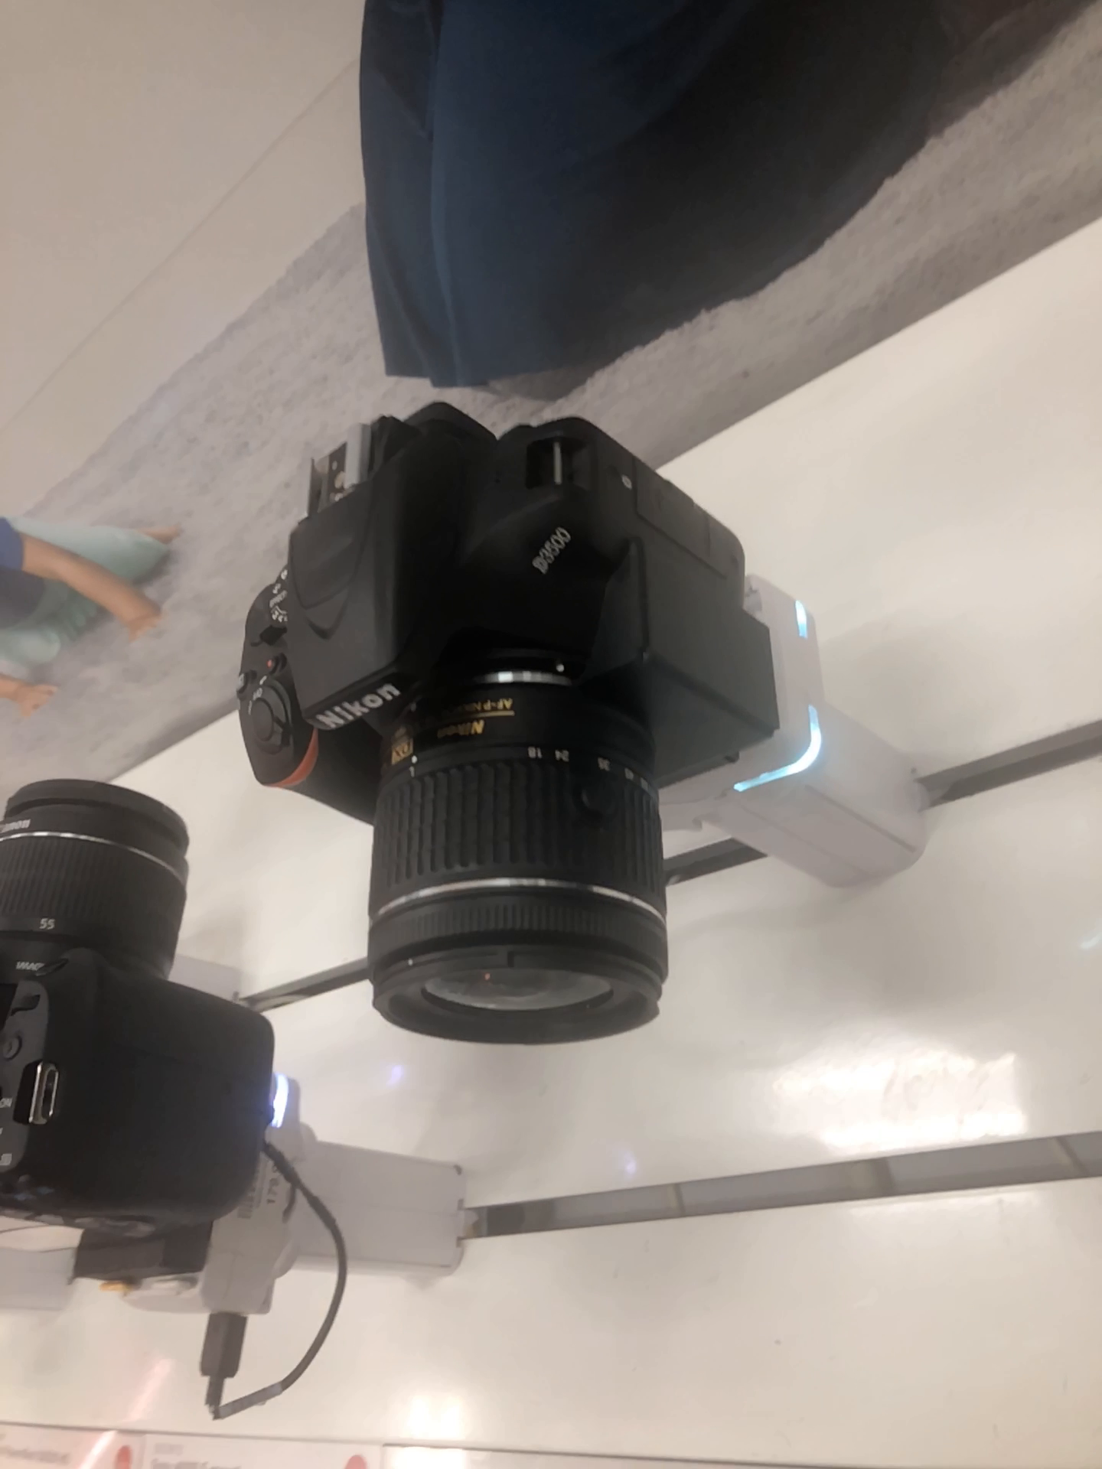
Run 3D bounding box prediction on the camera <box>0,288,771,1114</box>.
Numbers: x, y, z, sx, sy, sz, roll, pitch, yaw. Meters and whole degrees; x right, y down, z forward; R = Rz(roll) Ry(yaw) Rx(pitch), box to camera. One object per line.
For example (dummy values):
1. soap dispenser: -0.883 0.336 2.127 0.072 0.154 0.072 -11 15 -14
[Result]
1. camera: -0.038 0.007 0.281 0.140 0.090 0.130 -22 55 38
